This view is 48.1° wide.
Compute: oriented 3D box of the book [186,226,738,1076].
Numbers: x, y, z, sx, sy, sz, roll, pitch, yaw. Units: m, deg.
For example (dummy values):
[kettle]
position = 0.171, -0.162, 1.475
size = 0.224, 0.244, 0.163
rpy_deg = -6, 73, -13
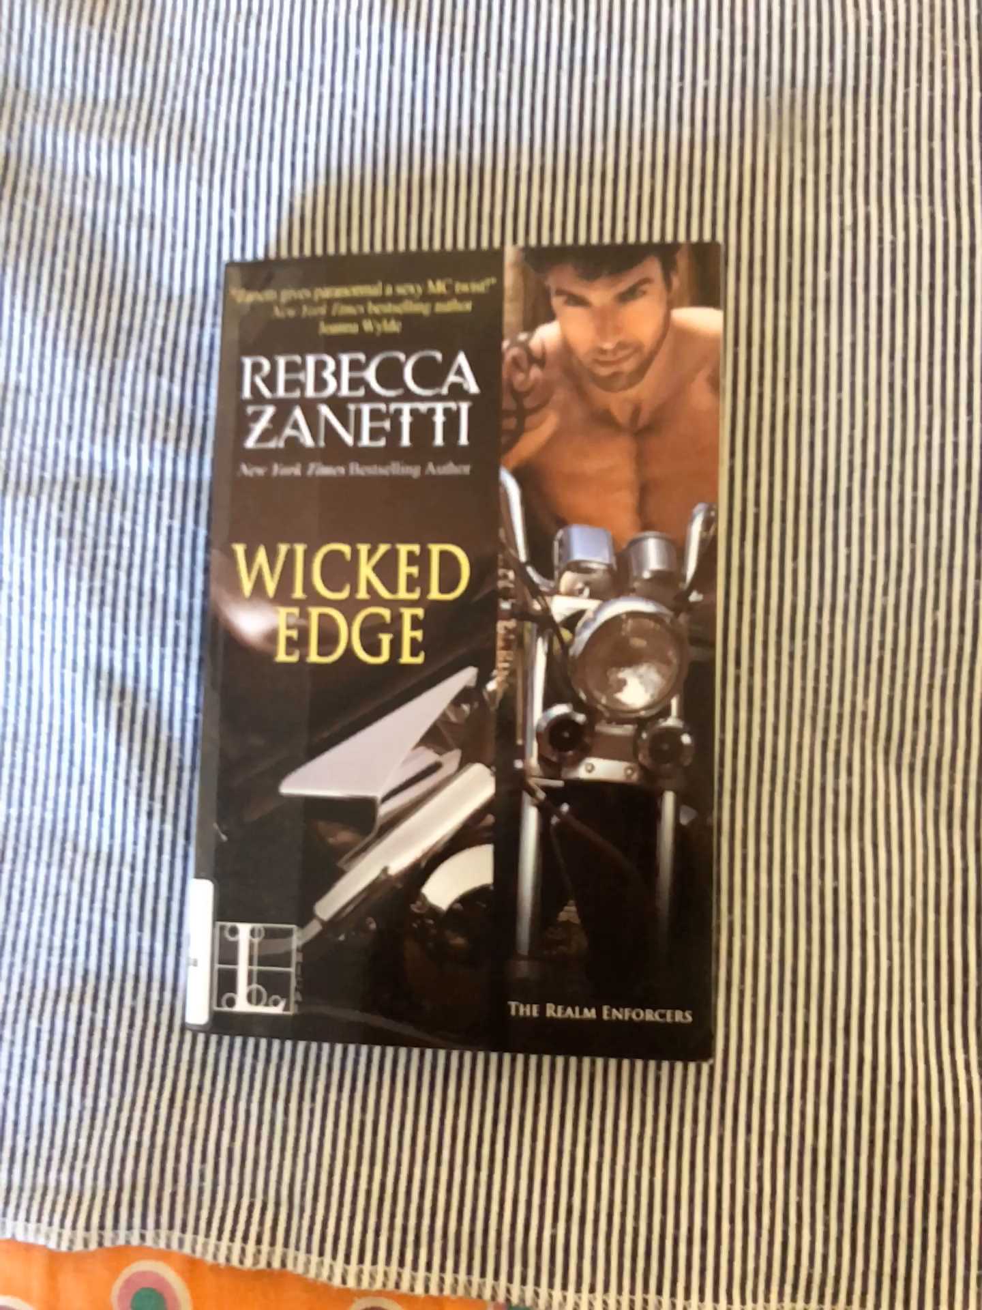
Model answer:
[book]
position = -0.006, -0.004, 0.301
size = 0.137, 0.030, 0.215
rpy_deg = 2, 86, 7
